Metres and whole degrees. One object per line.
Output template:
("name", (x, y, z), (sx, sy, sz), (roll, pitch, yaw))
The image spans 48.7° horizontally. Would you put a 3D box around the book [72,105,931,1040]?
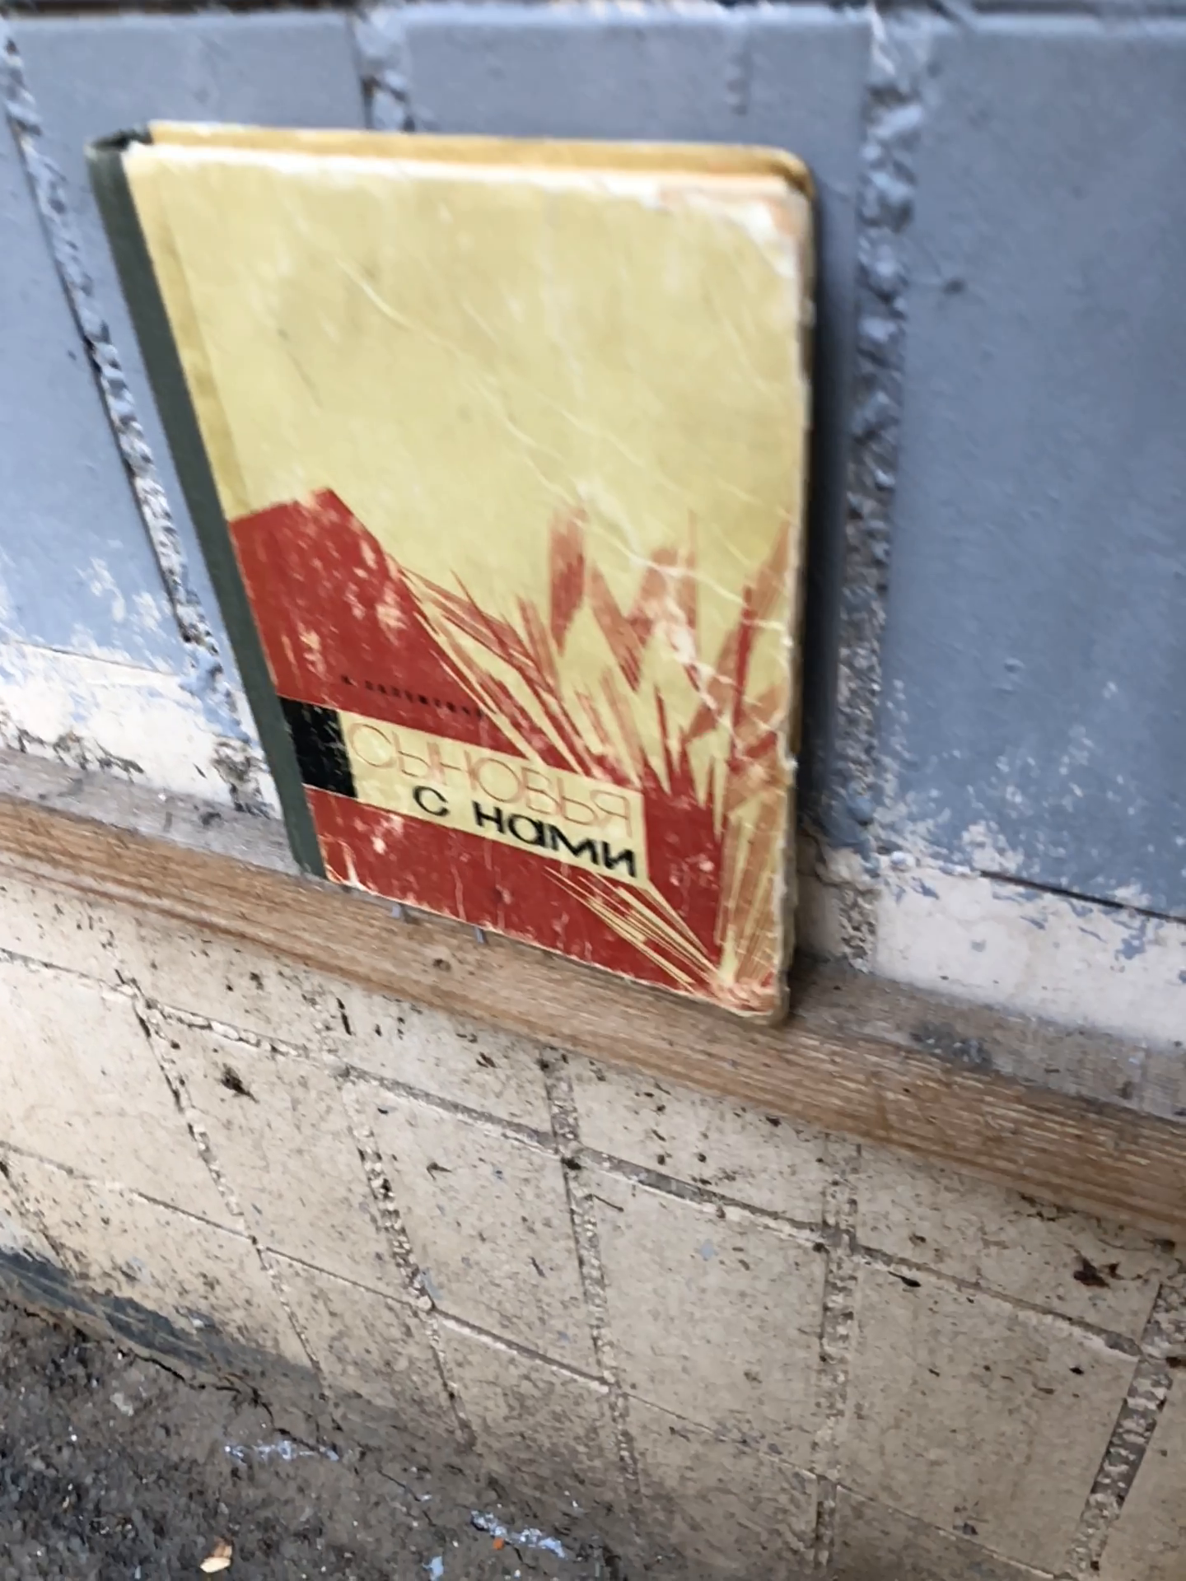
("book", (-0.015, -0.040, 0.256), (0.140, 0.162, 0.032), (15, 40, 24))
